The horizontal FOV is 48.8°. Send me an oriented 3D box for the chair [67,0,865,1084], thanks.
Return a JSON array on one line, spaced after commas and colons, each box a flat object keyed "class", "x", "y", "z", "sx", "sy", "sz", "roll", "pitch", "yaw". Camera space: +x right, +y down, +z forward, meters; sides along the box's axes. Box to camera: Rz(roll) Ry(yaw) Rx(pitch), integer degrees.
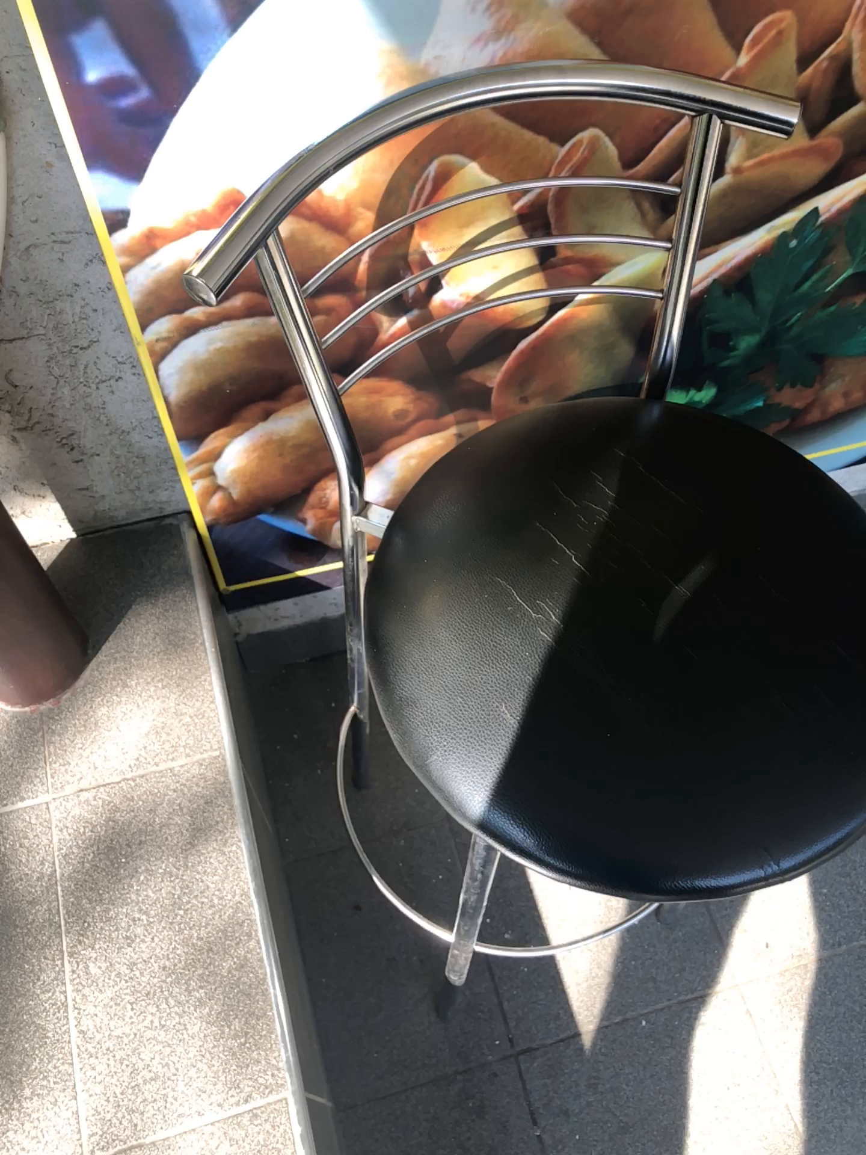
[{"class": "chair", "x": 0.110, "y": 0.114, "z": 1.016, "sx": 0.511, "sy": 1.098, "sz": 0.501, "roll": -27, "pitch": 63, "yaw": -17}]
